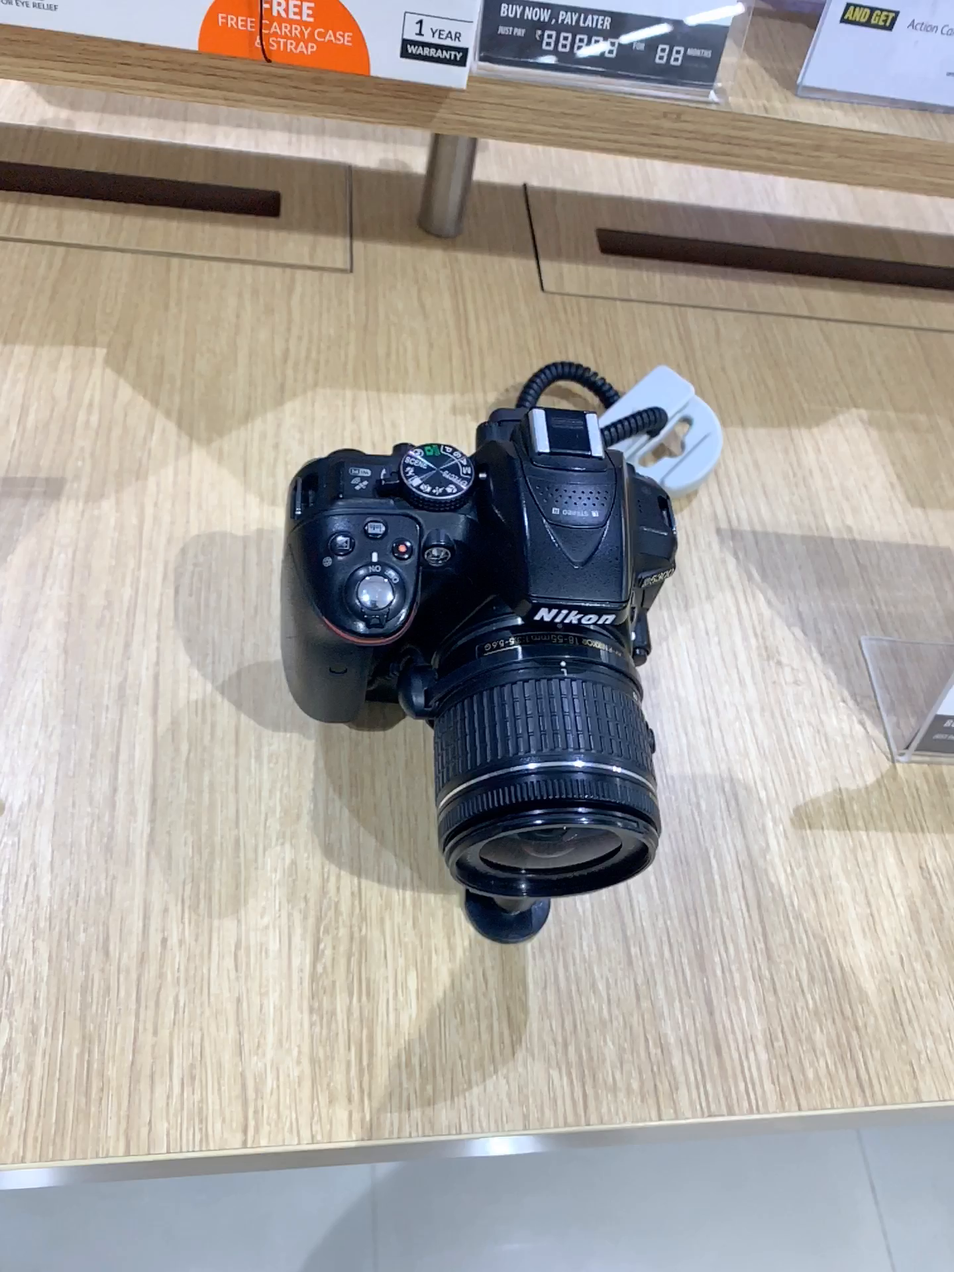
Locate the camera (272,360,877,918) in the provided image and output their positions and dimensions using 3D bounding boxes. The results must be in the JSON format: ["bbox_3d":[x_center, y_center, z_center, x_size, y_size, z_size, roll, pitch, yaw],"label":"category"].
[{"bbox_3d":[0.011,0.001,0.268,0.130,0.080,0.120,0,57,-12],"label":"camera"}]
